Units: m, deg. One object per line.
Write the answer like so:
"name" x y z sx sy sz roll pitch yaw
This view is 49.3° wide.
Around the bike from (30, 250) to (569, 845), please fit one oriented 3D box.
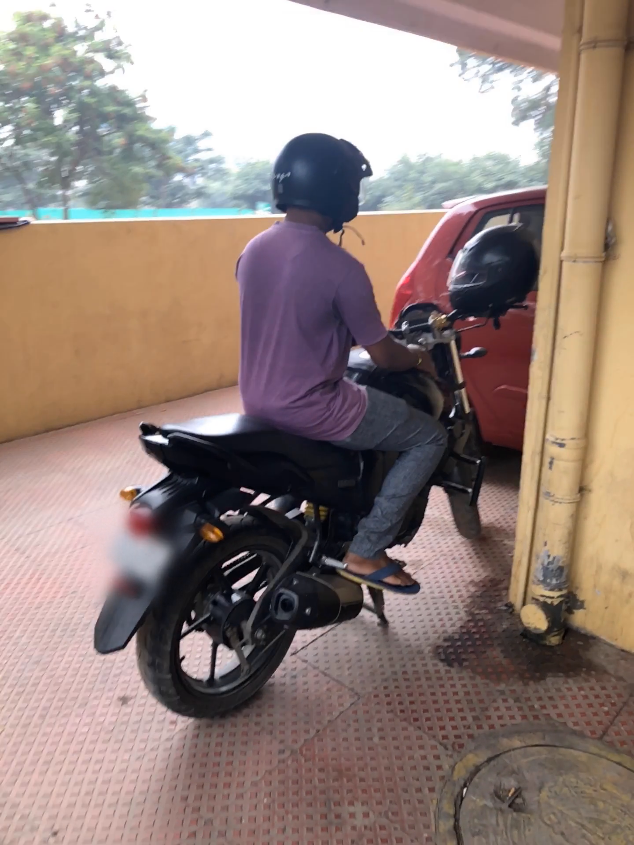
"bike" 0.141 0.096 2.432 0.853 1.156 1.911 12 23 32
